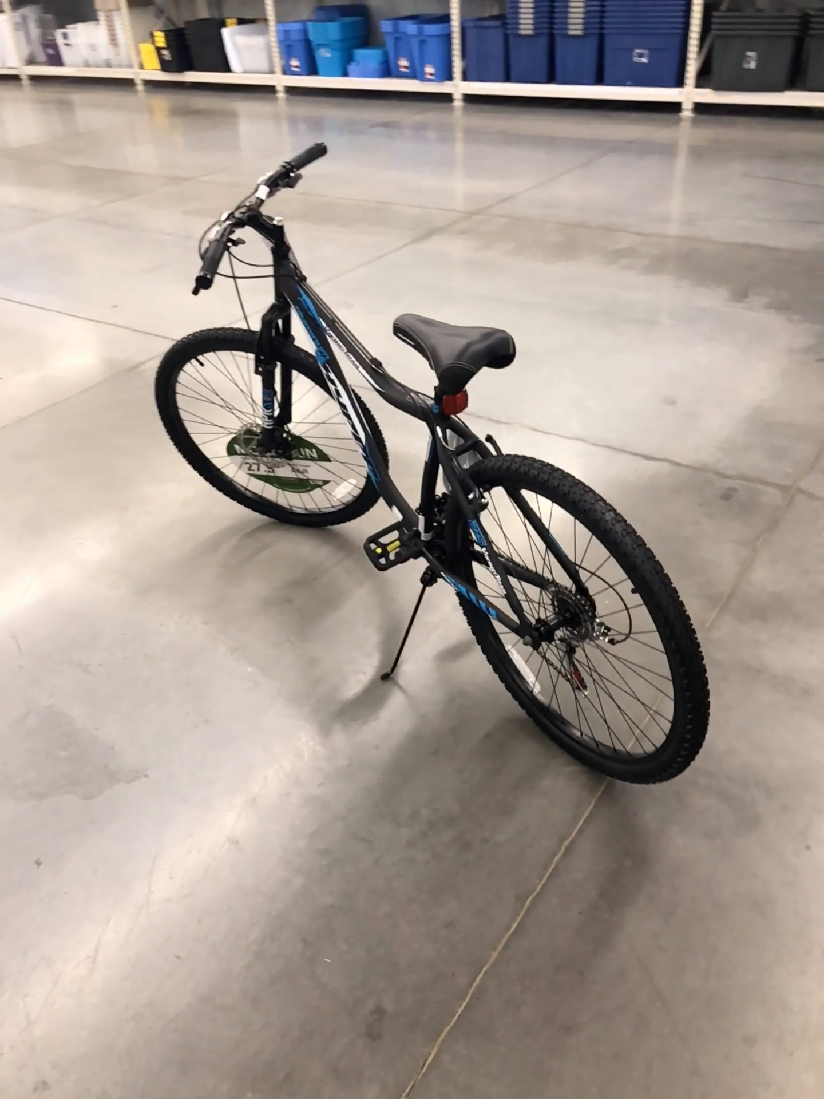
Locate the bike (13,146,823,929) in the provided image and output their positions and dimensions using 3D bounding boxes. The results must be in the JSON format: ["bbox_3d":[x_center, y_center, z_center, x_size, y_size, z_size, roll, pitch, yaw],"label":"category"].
[{"bbox_3d":[-0.088,-0.202,1.877,0.573,0.987,1.639,-29,40,-32],"label":"bike"}]
